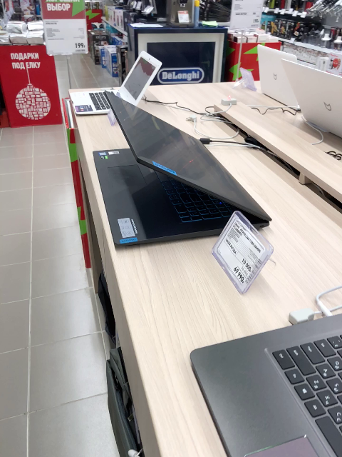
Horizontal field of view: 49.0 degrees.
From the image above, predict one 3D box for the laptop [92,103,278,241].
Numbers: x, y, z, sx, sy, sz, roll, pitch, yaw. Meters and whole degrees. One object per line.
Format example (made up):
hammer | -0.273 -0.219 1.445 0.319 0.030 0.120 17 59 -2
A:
laptop | -0.008 -0.146 0.780 0.271 0.129 0.391 -7 31 -12
